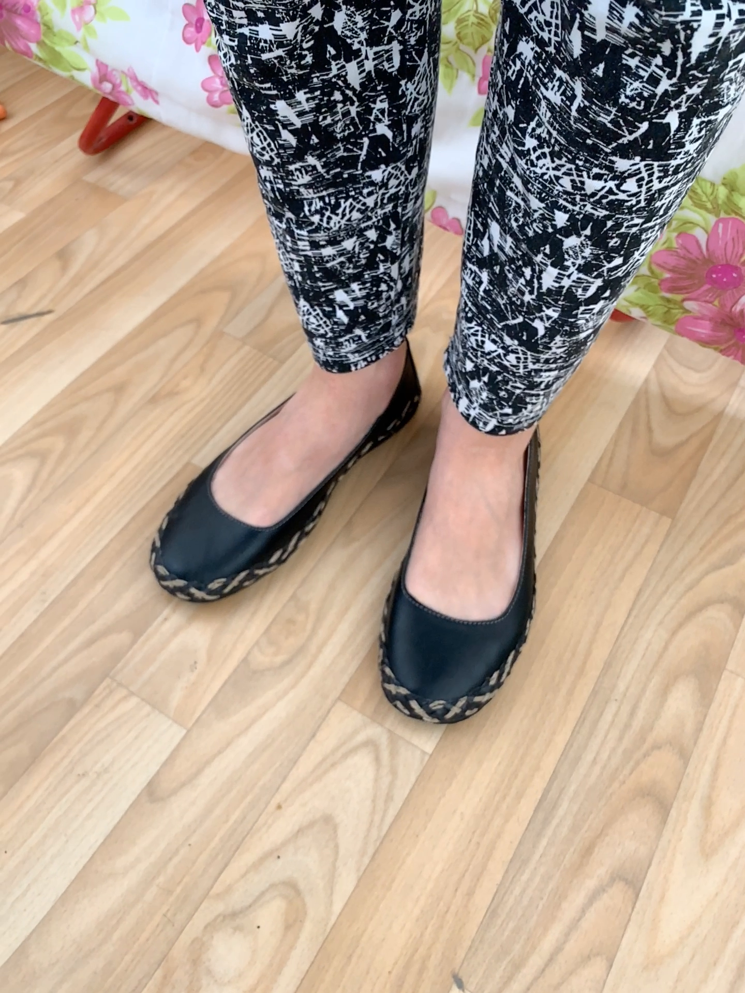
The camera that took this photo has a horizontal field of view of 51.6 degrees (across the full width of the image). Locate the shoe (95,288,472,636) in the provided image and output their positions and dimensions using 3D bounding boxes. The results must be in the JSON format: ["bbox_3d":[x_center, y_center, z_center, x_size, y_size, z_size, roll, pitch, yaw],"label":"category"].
[{"bbox_3d":[-0.052,-0.035,0.560,0.100,0.070,0.265,36,63,22],"label":"shoe"}]

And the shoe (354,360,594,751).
[{"bbox_3d":[0.074,0.027,0.519,0.100,0.060,0.251,14,57,10],"label":"shoe"}]
